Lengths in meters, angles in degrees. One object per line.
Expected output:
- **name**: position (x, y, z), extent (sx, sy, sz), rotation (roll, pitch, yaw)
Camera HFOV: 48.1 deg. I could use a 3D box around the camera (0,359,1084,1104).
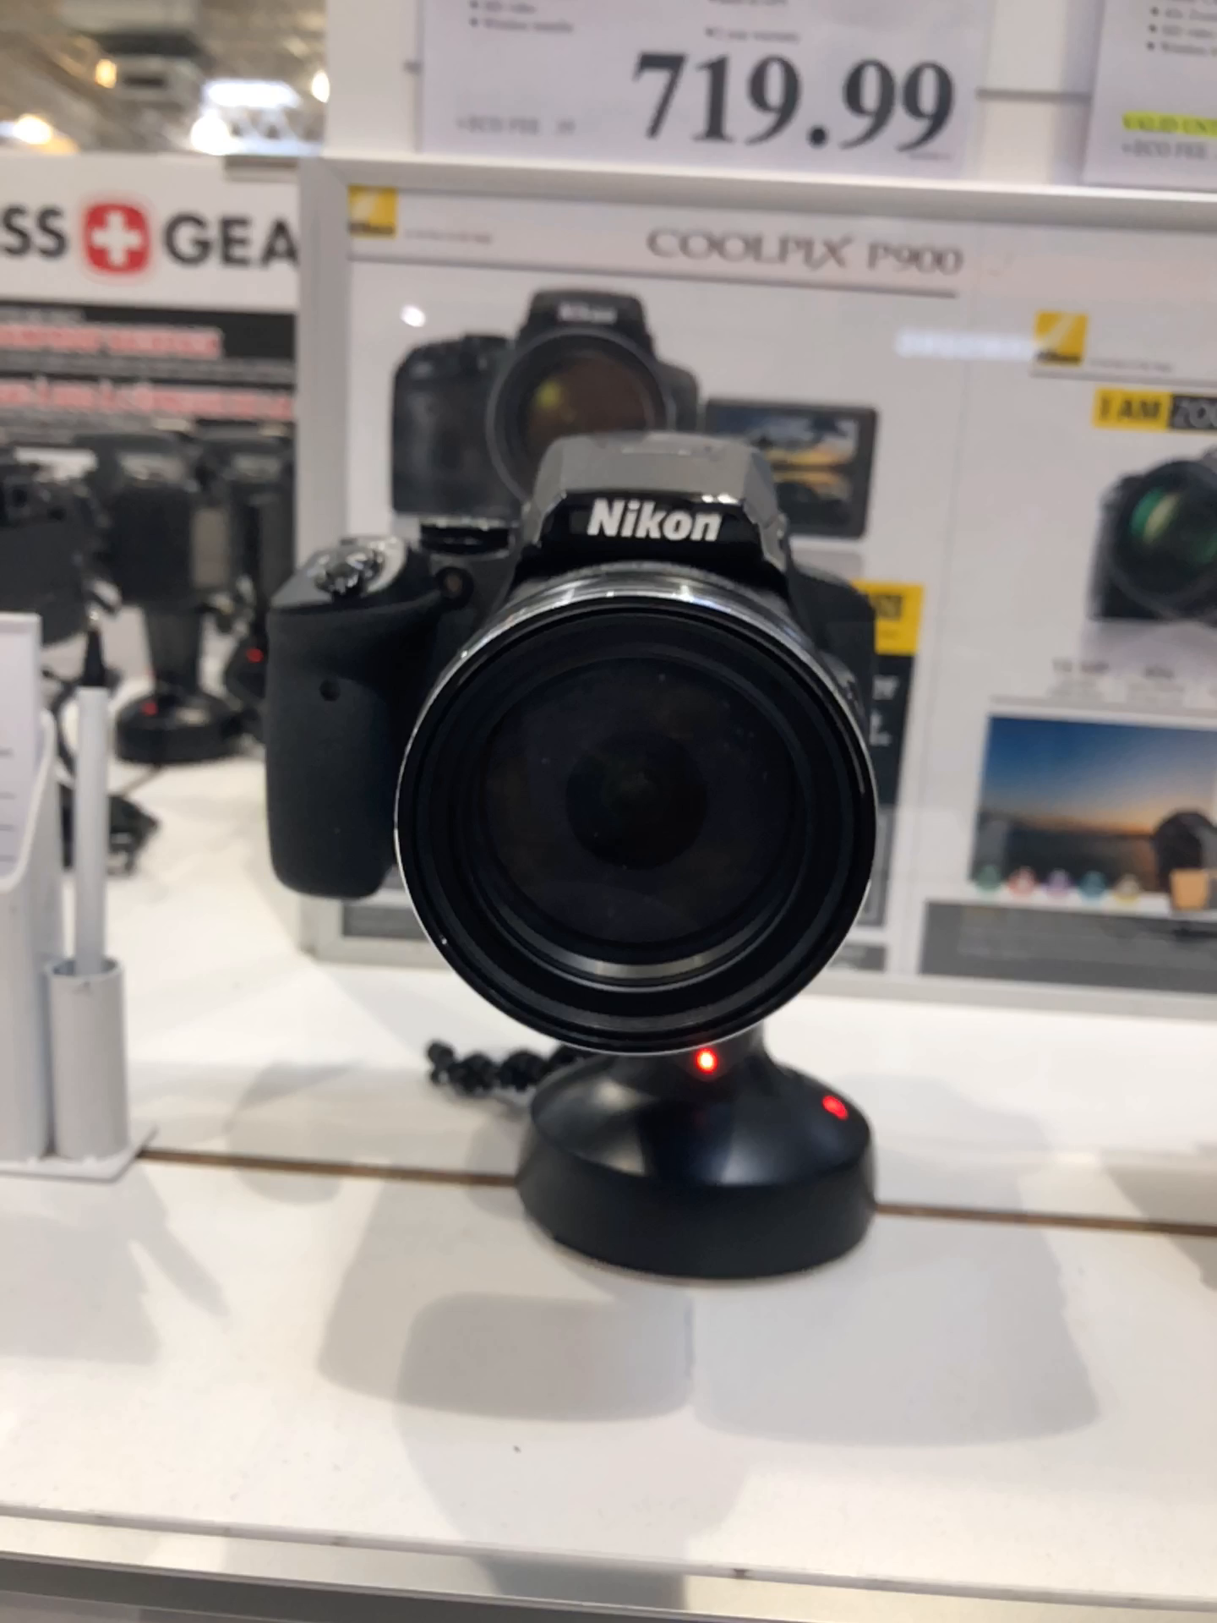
- **camera**: position (-0.010, -0.027, 0.265), extent (0.150, 0.100, 0.141), rotation (4, 15, 3)
